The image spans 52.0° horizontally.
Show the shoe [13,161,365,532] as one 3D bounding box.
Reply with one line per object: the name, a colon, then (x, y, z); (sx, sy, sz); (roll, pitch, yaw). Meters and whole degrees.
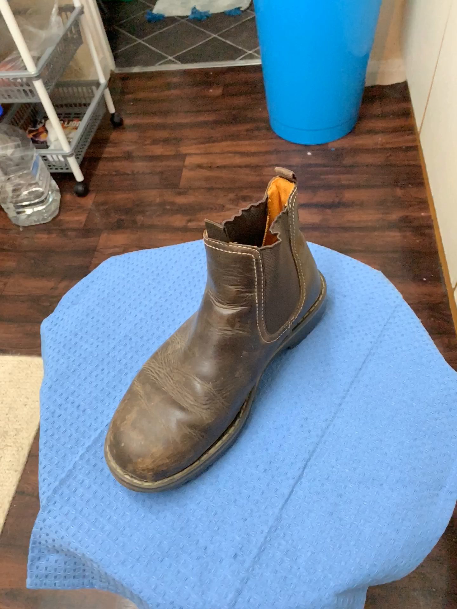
shoe: (-0.009, 0.030, 0.414); (0.106, 0.156, 0.279); (32, 64, 27)
